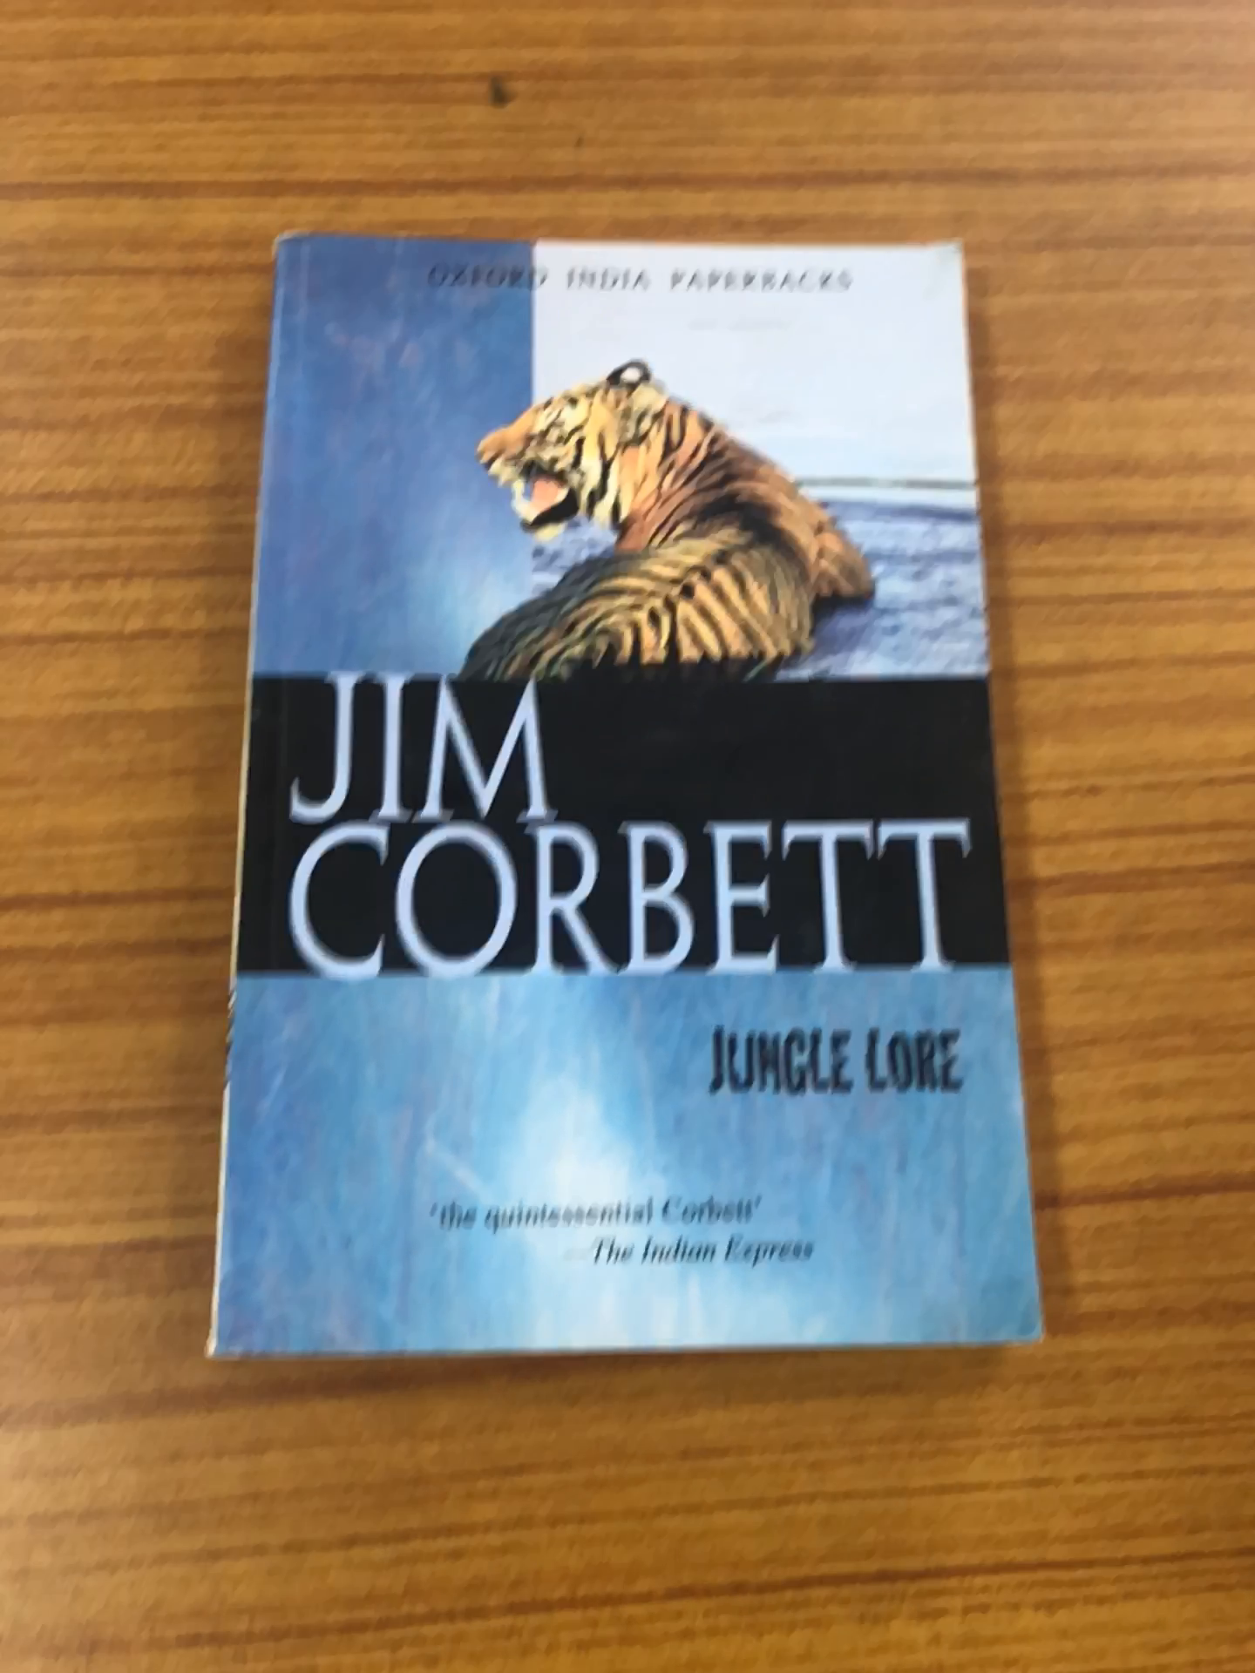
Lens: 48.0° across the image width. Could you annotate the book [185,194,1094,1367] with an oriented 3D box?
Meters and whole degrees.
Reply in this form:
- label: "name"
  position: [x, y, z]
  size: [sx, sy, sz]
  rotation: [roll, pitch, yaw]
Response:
- label: "book"
  position: [0.001, -0.020, 0.262]
  size: [0.150, 0.010, 0.220]
  rotation: [0, 77, -2]
